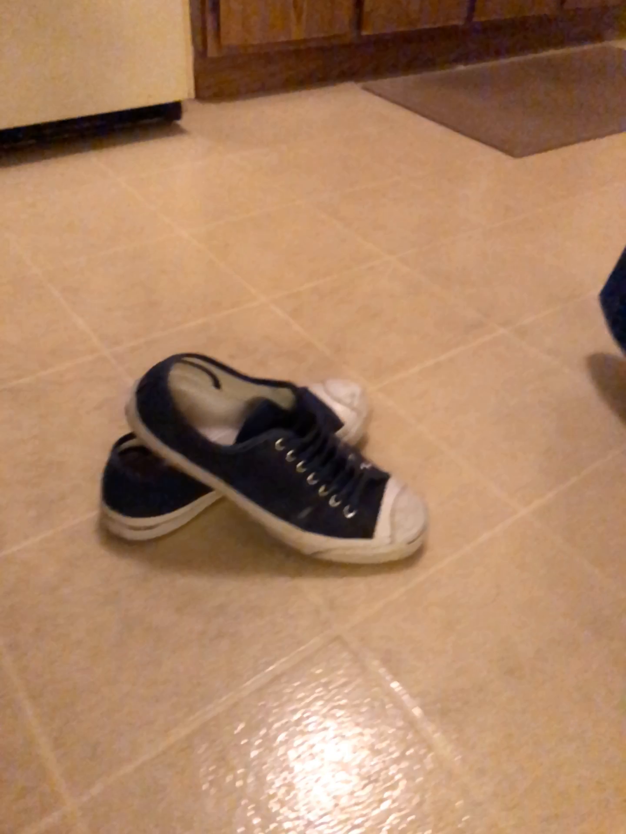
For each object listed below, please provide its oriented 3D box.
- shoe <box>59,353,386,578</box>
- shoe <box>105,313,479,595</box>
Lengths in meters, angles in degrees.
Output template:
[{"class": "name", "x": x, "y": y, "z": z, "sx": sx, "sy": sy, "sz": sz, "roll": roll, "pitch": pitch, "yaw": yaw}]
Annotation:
[{"class": "shoe", "x": -0.080, "y": 0.033, "z": 0.671, "sx": 0.291, "sy": 0.080, "sz": 0.110, "roll": -19, "pitch": 50, "yaw": -35}, {"class": "shoe", "x": -0.016, "y": 0.041, "z": 0.598, "sx": 0.290, "sy": 0.100, "sz": 0.100, "roll": 27, "pitch": 59, "yaw": -10}]
